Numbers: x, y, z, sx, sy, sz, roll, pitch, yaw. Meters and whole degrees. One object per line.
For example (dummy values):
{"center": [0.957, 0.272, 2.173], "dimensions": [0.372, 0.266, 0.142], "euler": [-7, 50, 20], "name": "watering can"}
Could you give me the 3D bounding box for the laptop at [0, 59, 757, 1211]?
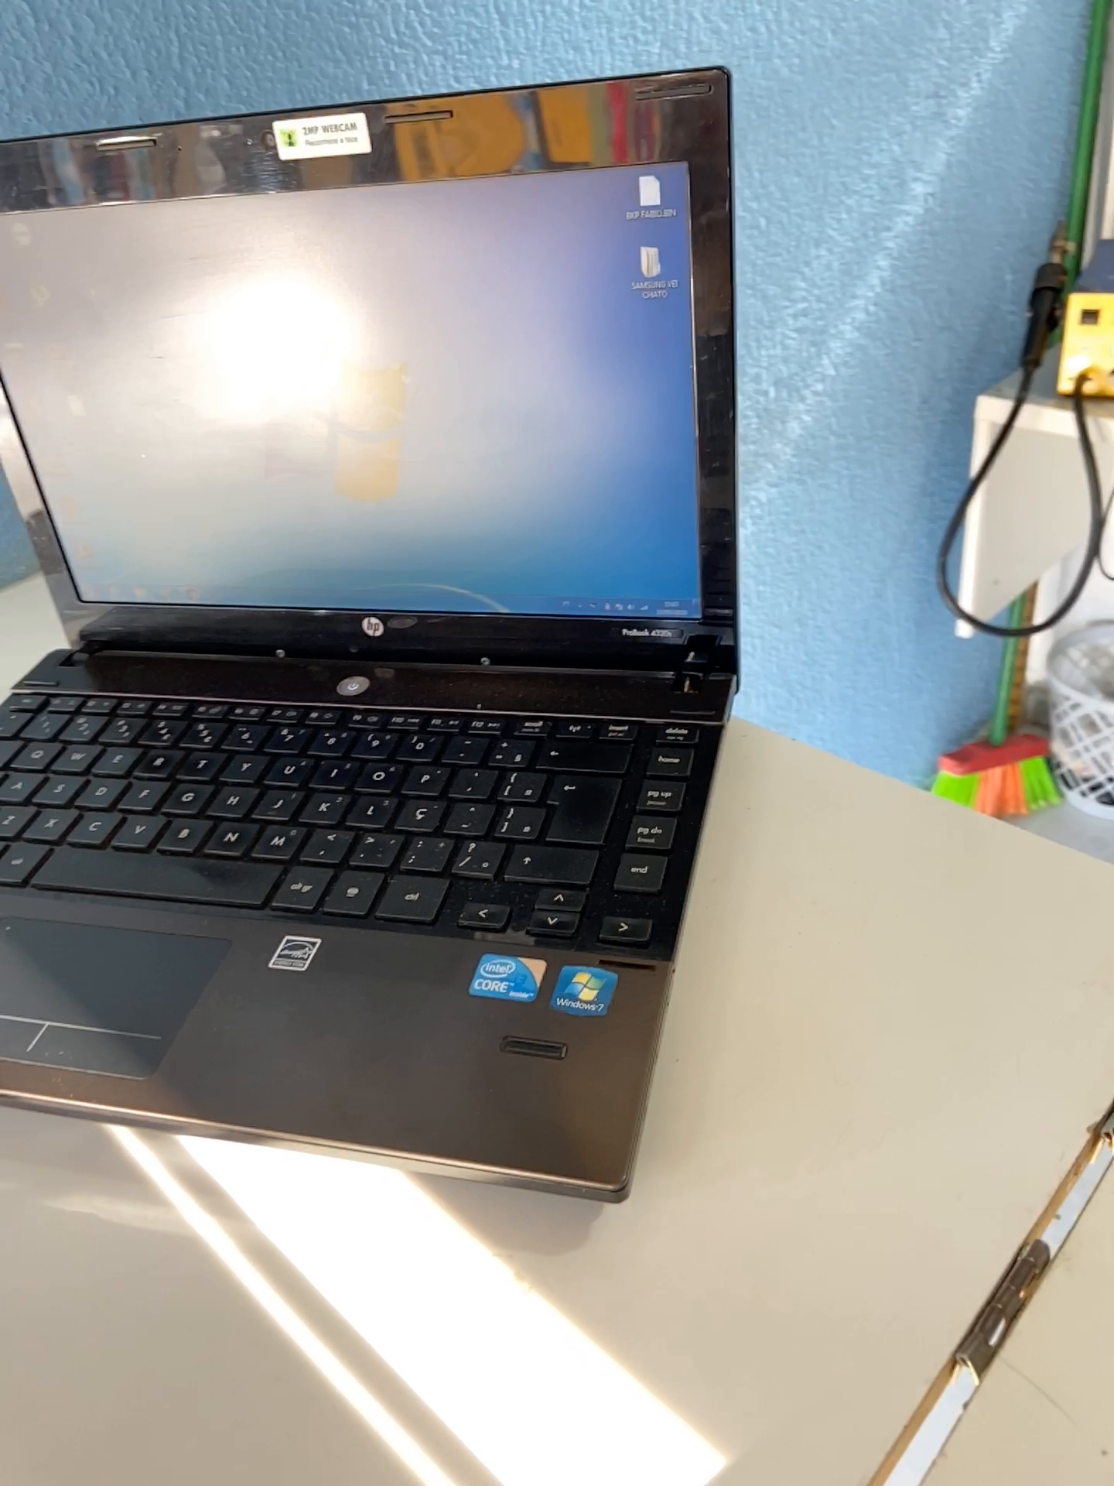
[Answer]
{"center": [-0.119, -0.057, 0.367], "dimensions": [0.321, 0.207, 0.260], "euler": [3, 37, 17], "name": "laptop"}
